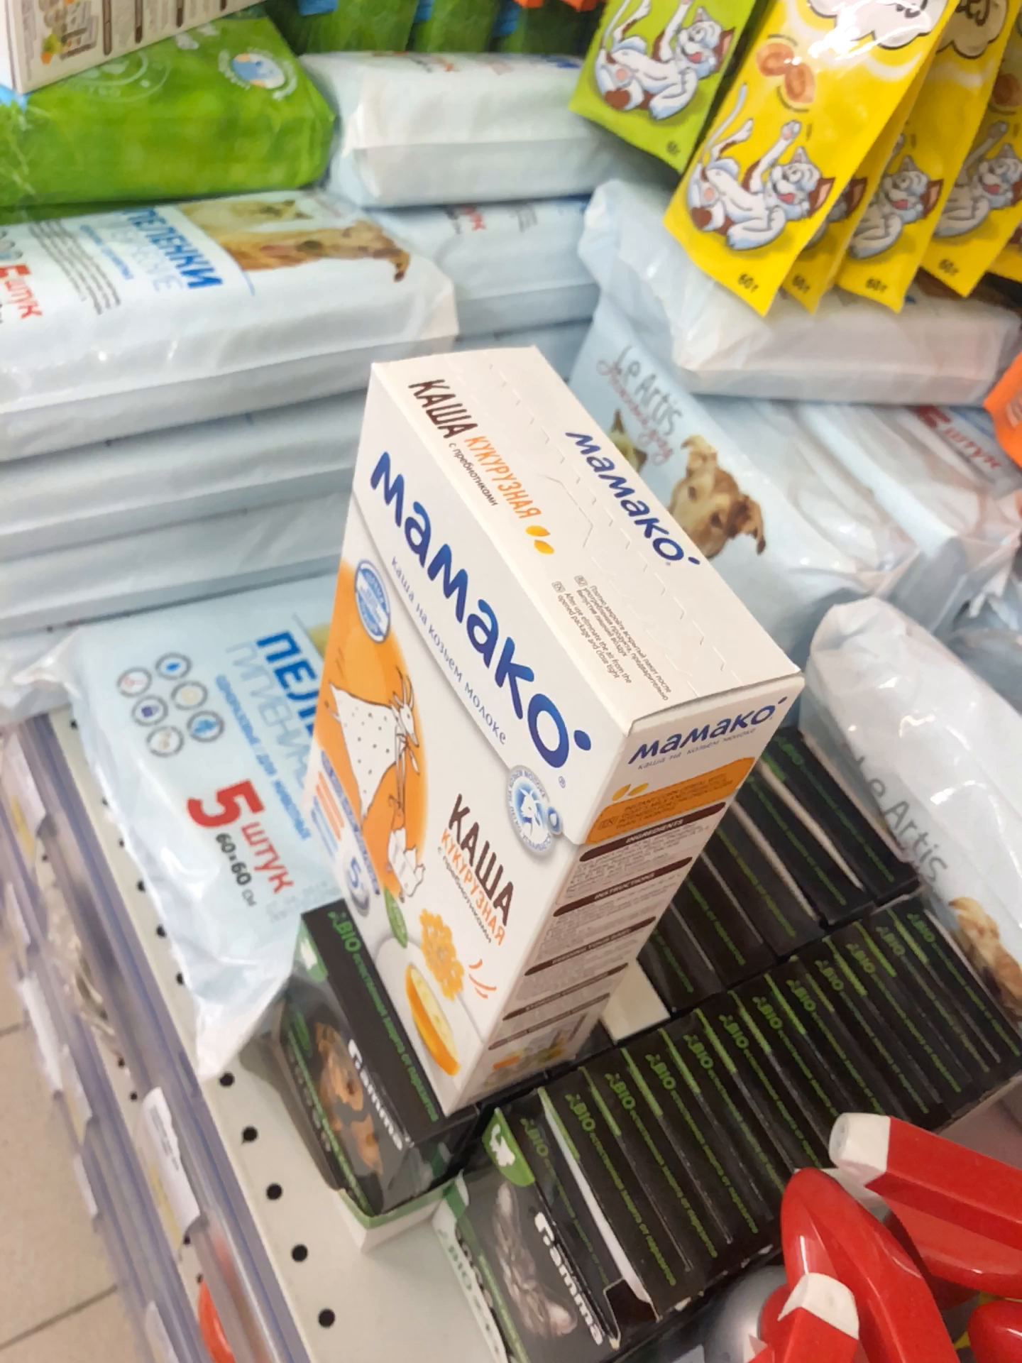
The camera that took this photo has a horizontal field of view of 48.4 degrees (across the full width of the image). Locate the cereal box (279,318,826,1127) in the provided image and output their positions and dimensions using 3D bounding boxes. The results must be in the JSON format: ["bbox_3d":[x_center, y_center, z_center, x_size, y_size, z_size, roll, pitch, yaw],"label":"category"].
[{"bbox_3d":[-0.010,0.021,0.338,0.050,0.199,0.140,-14,55,-29],"label":"cereal box"}]
